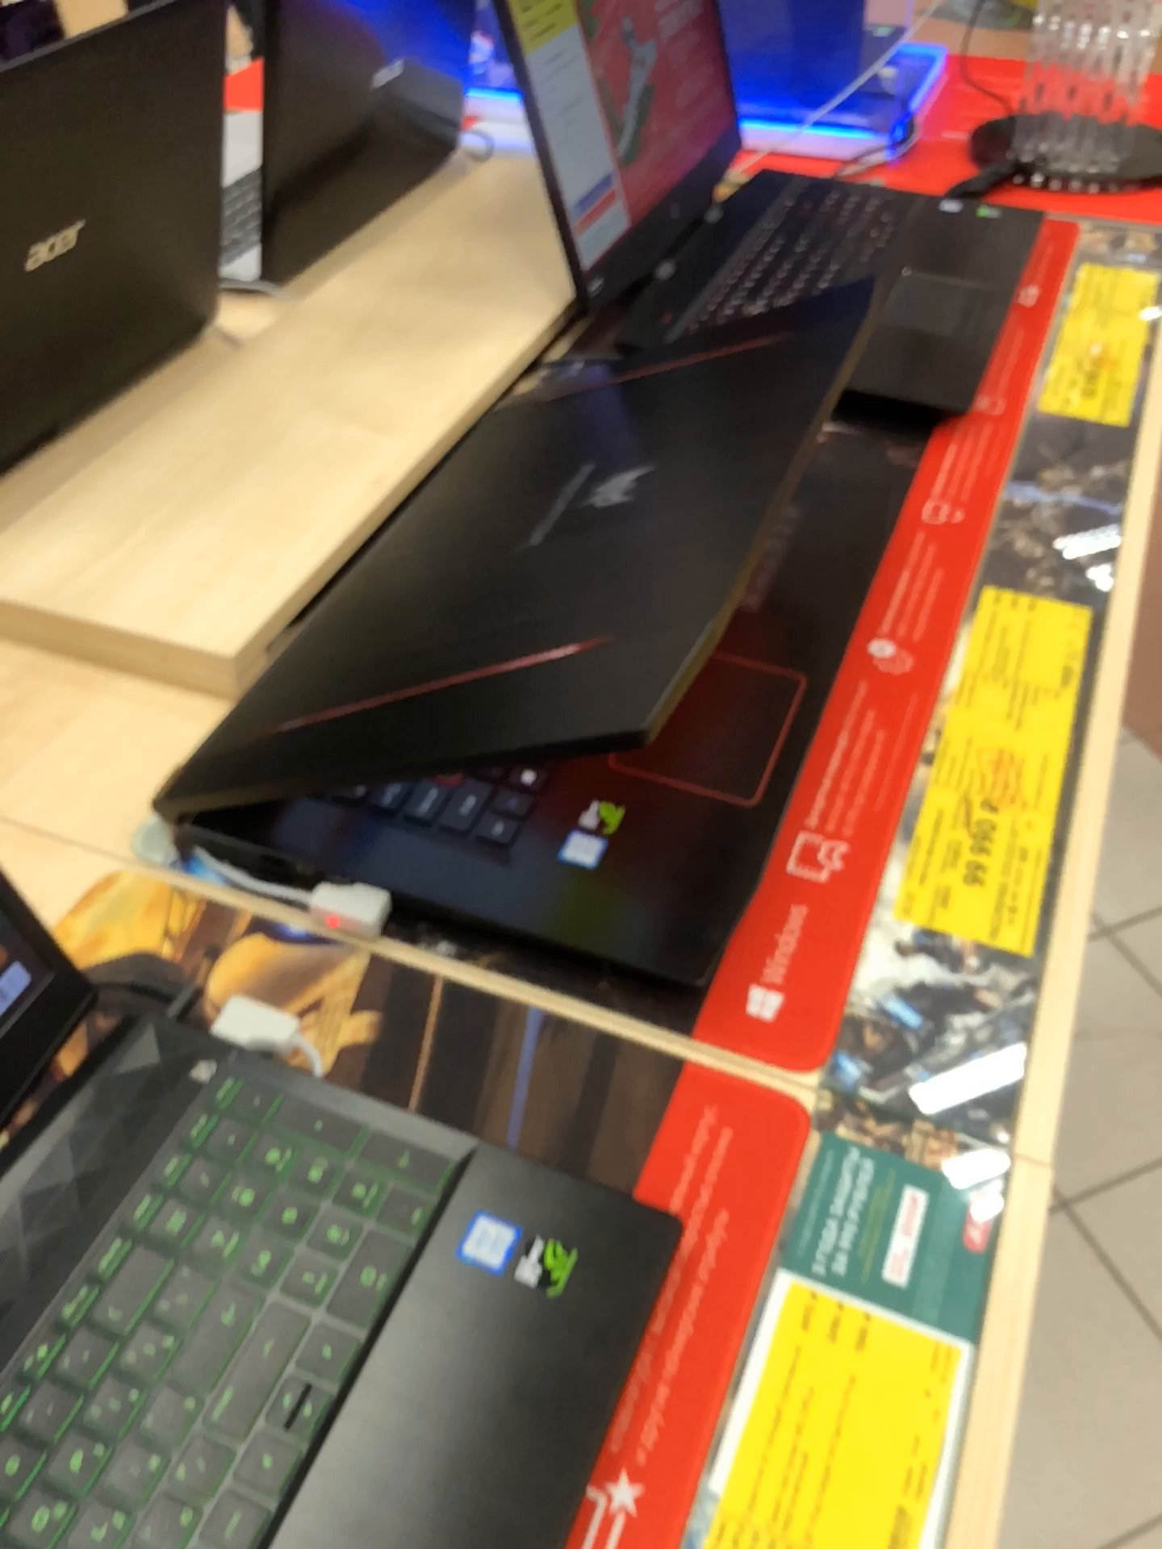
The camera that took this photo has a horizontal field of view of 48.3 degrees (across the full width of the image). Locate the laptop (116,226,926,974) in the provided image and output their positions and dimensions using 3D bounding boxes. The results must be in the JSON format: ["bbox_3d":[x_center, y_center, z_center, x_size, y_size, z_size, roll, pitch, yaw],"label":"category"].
[{"bbox_3d":[0.006,-0.130,0.683,0.261,0.124,0.421,15,46,14],"label":"laptop"}]

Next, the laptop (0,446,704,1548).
[{"bbox_3d":[-0.186,0.142,0.308,0.342,0.230,0.352,16,44,15],"label":"laptop"}]

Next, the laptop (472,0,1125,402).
[{"bbox_3d":[0.178,-0.525,1.001,0.355,0.251,0.379,17,46,14],"label":"laptop"}]
